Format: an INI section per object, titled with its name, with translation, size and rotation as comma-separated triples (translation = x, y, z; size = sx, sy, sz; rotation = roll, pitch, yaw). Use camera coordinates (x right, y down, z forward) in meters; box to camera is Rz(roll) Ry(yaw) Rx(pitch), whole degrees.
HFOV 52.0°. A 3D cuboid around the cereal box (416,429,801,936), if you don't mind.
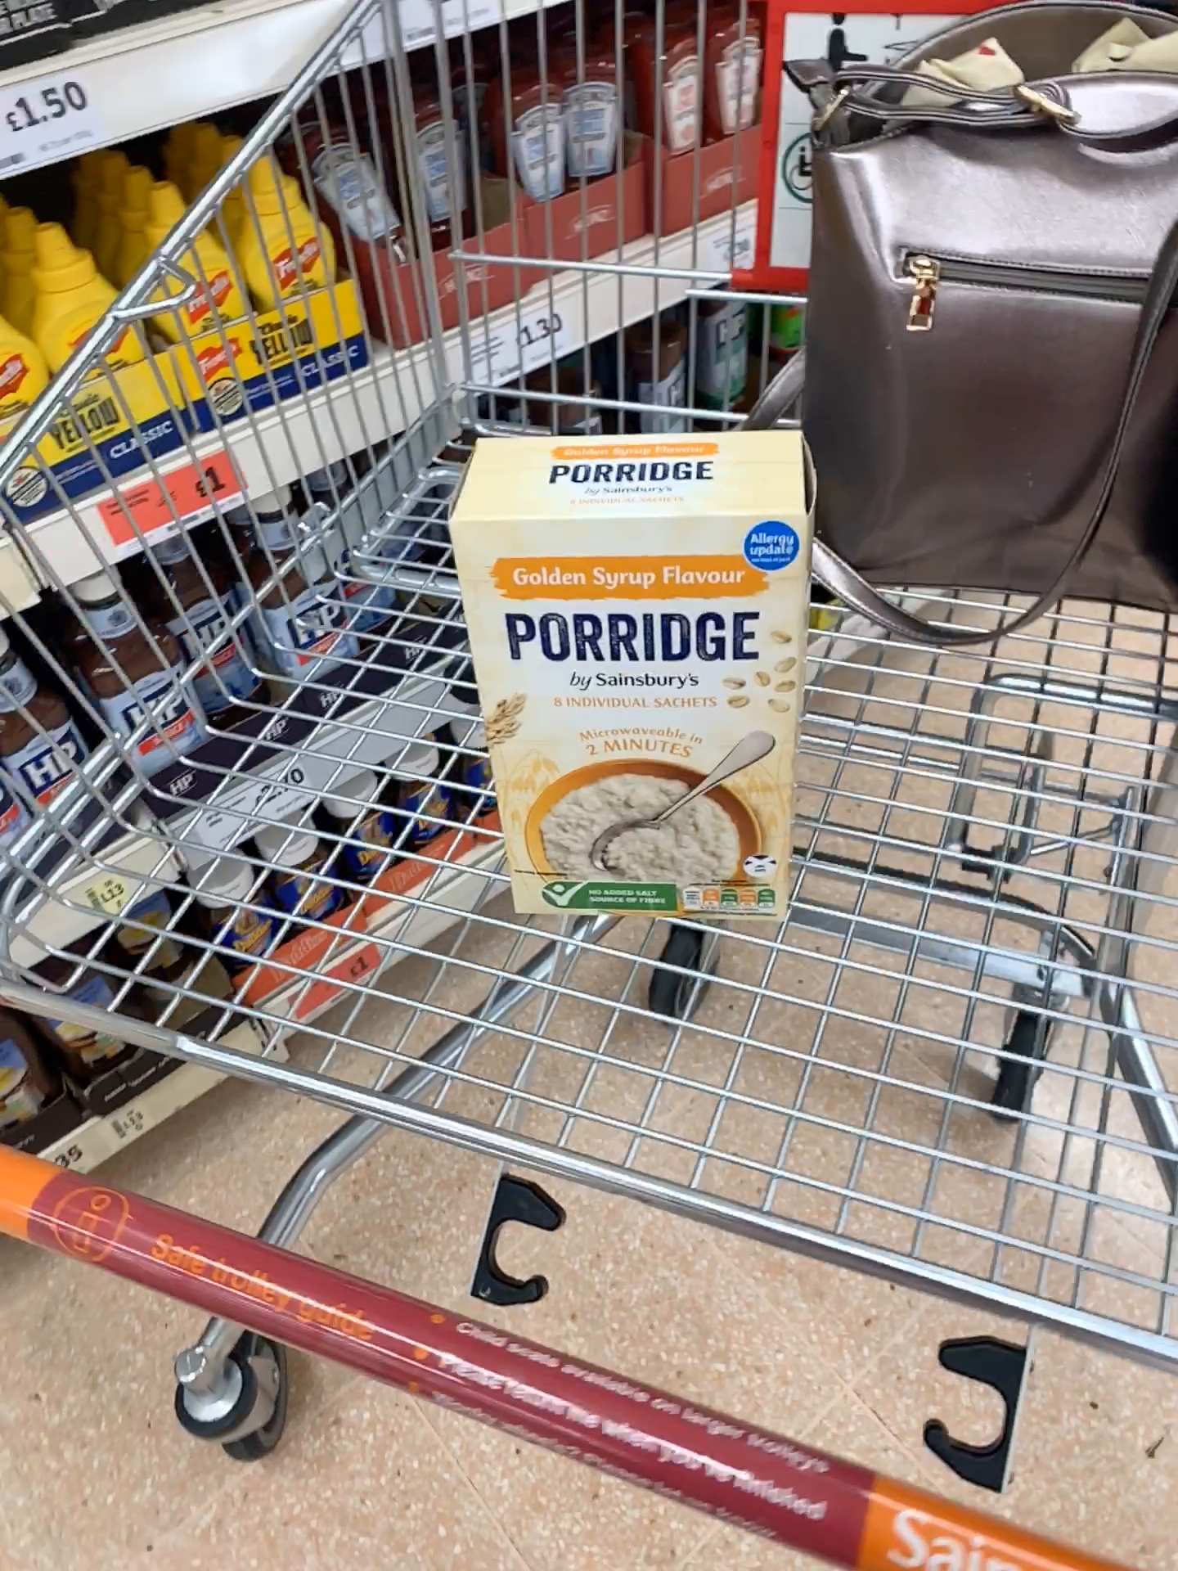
[cereal box]
translation = 0.016, -0.033, 0.502
size = 0.130, 0.208, 0.071
rotation = 1, 43, 7
